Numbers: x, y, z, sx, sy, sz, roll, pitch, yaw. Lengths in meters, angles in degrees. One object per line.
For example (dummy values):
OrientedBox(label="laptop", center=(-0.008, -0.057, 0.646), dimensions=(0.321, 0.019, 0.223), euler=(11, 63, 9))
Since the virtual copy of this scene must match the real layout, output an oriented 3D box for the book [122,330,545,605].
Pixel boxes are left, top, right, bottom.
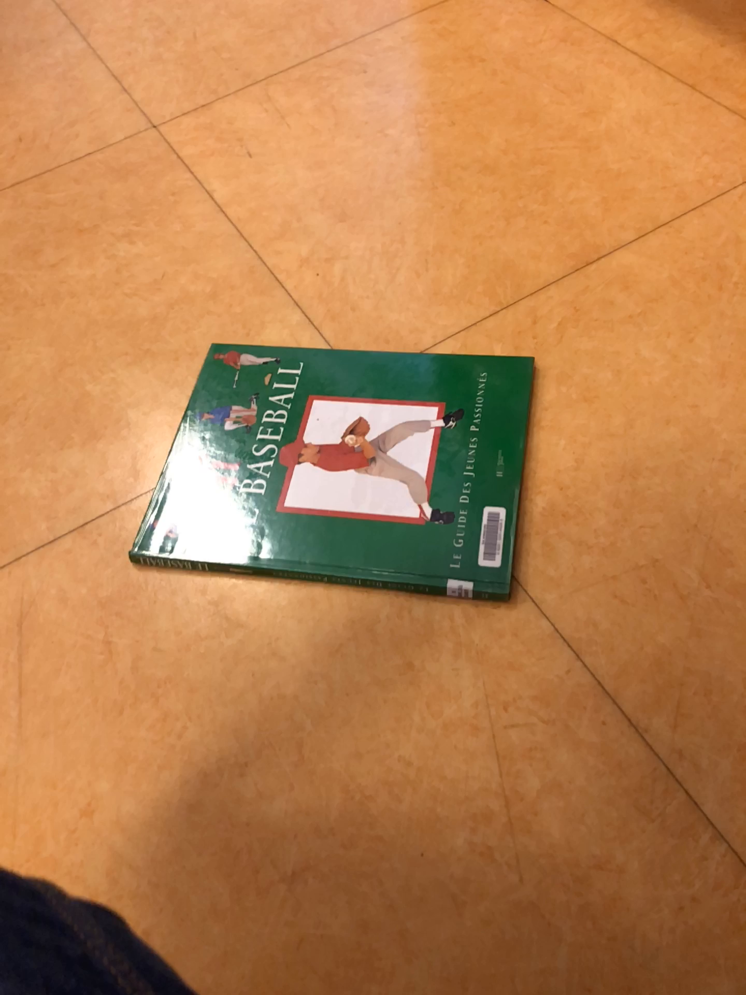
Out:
OrientedBox(label="book", center=(-0.020, -0.036, 0.618), dimensions=(0.280, 0.020, 0.220), euler=(4, 56, 12))
